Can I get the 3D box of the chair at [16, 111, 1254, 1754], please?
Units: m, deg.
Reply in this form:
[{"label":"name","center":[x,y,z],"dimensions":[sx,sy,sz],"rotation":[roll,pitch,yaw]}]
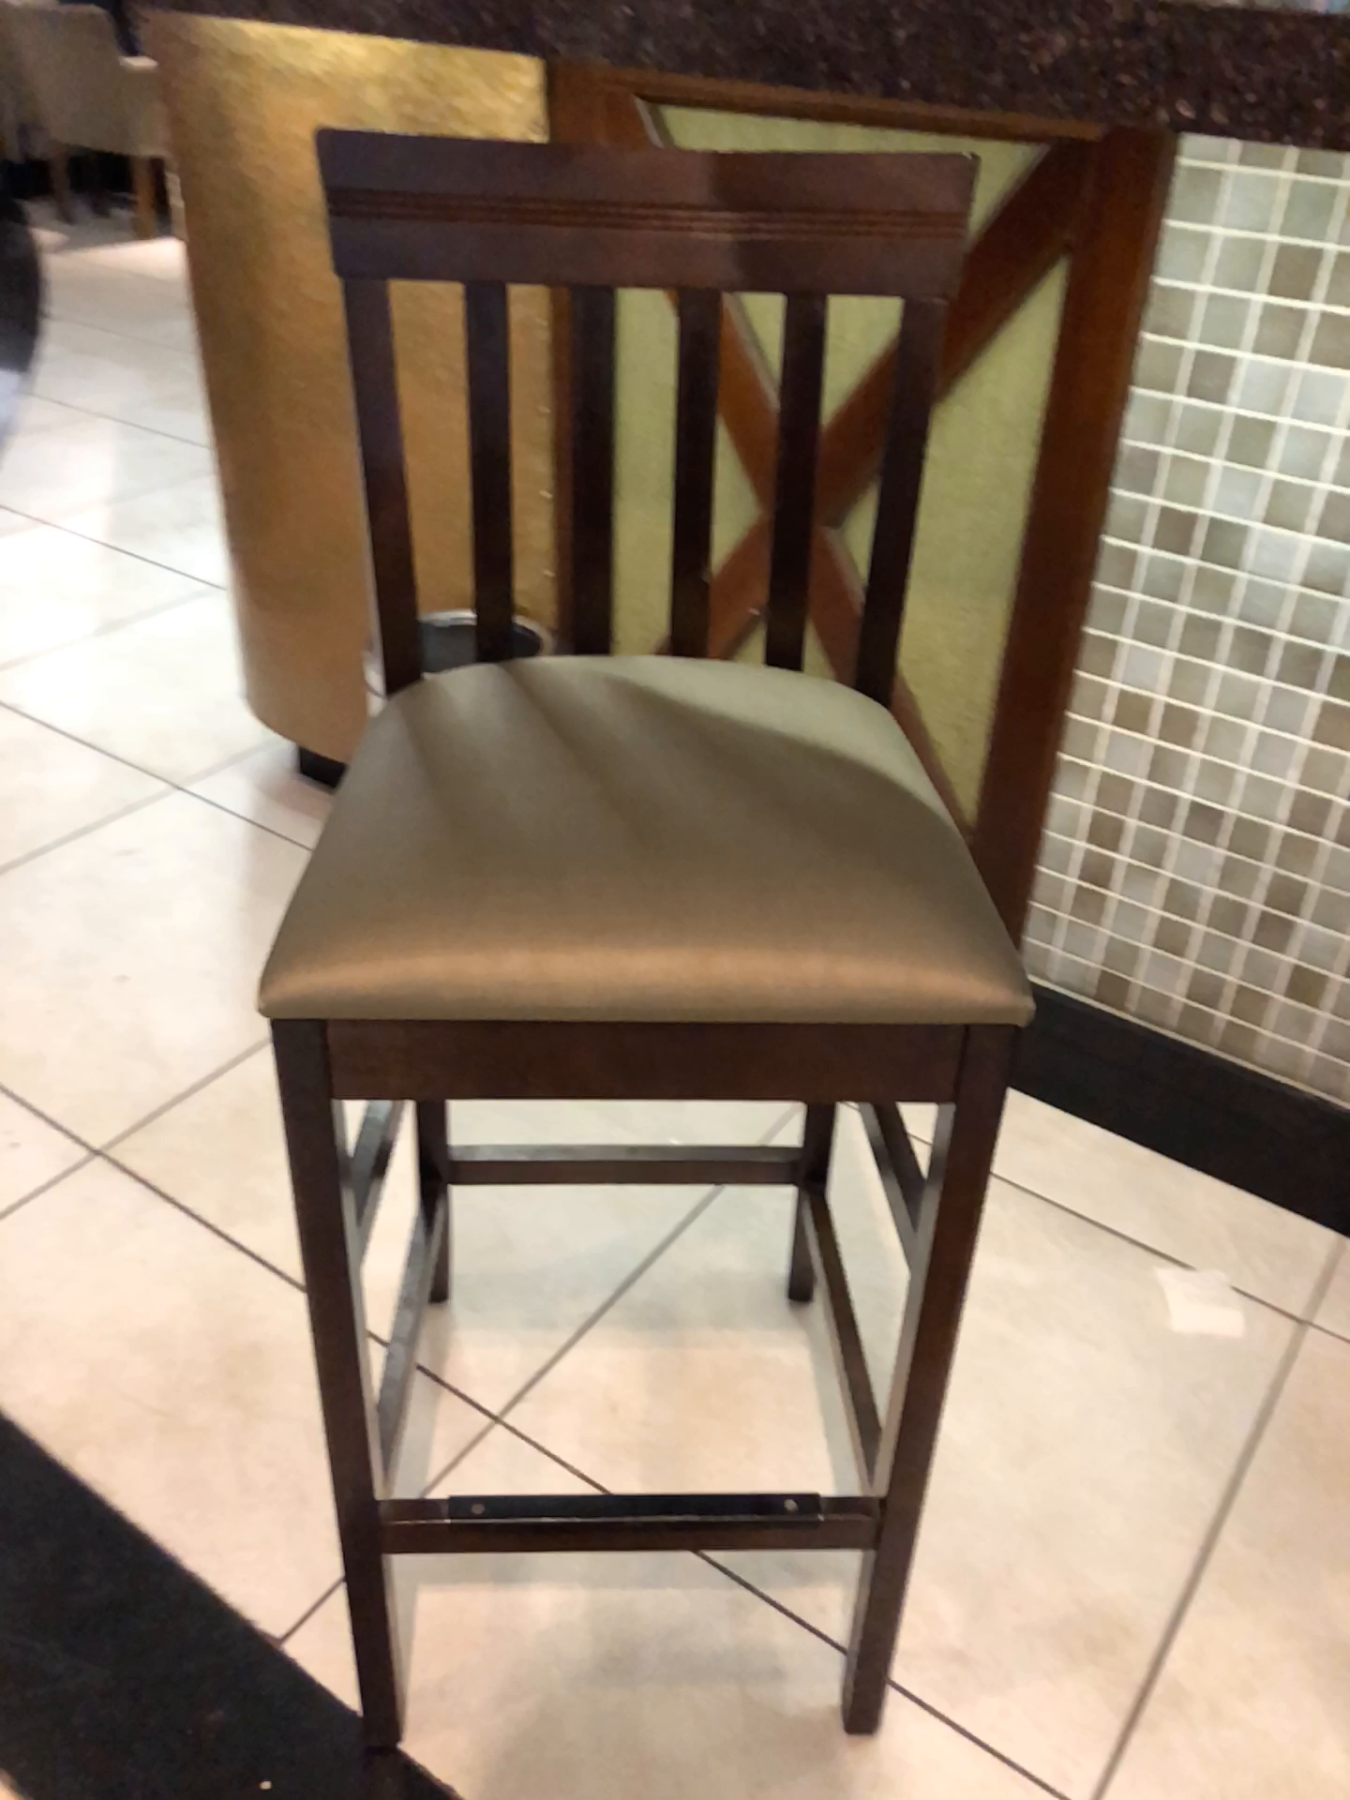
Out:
[{"label":"chair","center":[-0.039,0.064,1.036],"dimensions":[0.460,1.032,0.494],"rotation":[0,33,-3]}]
